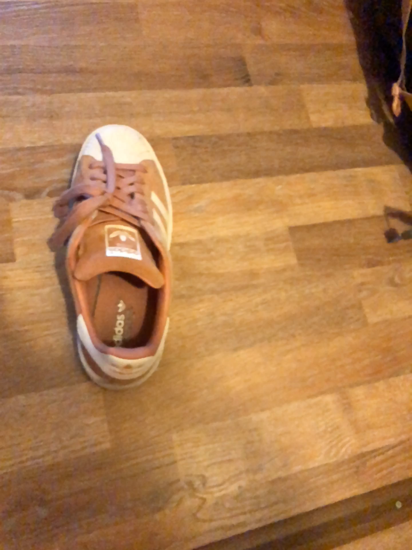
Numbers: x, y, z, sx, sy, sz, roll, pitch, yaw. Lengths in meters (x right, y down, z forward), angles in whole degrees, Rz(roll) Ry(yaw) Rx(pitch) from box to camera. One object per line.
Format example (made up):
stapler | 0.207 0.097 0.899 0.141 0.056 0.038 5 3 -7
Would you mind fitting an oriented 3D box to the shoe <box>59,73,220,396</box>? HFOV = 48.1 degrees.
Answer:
shoe | -0.070 -0.032 0.420 0.110 0.110 0.260 -2 73 -15
